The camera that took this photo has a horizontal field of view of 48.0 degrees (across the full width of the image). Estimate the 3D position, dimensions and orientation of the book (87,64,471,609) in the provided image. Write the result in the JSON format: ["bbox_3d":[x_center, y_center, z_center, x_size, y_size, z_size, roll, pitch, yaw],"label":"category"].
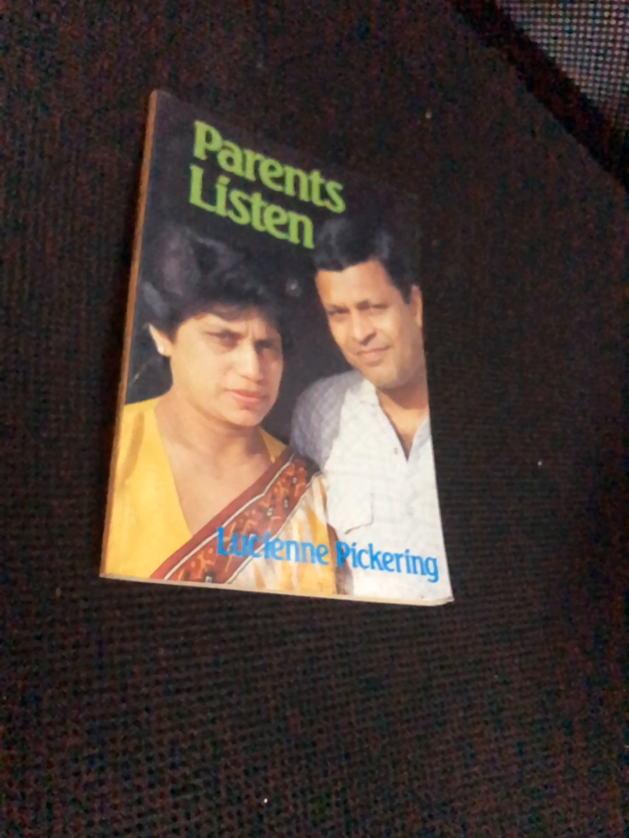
[{"bbox_3d":[-0.006,-0.032,0.260,0.130,0.010,0.191,13,62,-28],"label":"book"}]
